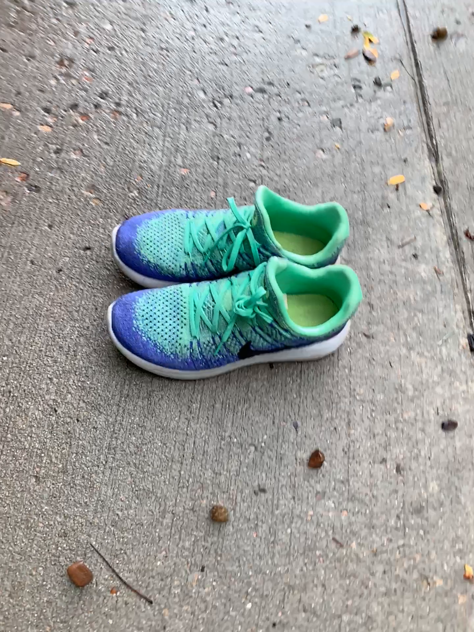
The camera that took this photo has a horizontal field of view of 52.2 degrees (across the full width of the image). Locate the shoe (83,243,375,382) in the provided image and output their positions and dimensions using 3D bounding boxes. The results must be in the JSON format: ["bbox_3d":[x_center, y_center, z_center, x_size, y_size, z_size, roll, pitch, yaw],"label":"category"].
[{"bbox_3d":[-0.008,0.000,0.555,0.290,0.110,0.120,1,65,-2],"label":"shoe"}]

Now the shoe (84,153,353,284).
[{"bbox_3d":[-0.019,-0.106,0.554,0.270,0.110,0.100,1,71,-2],"label":"shoe"}]
